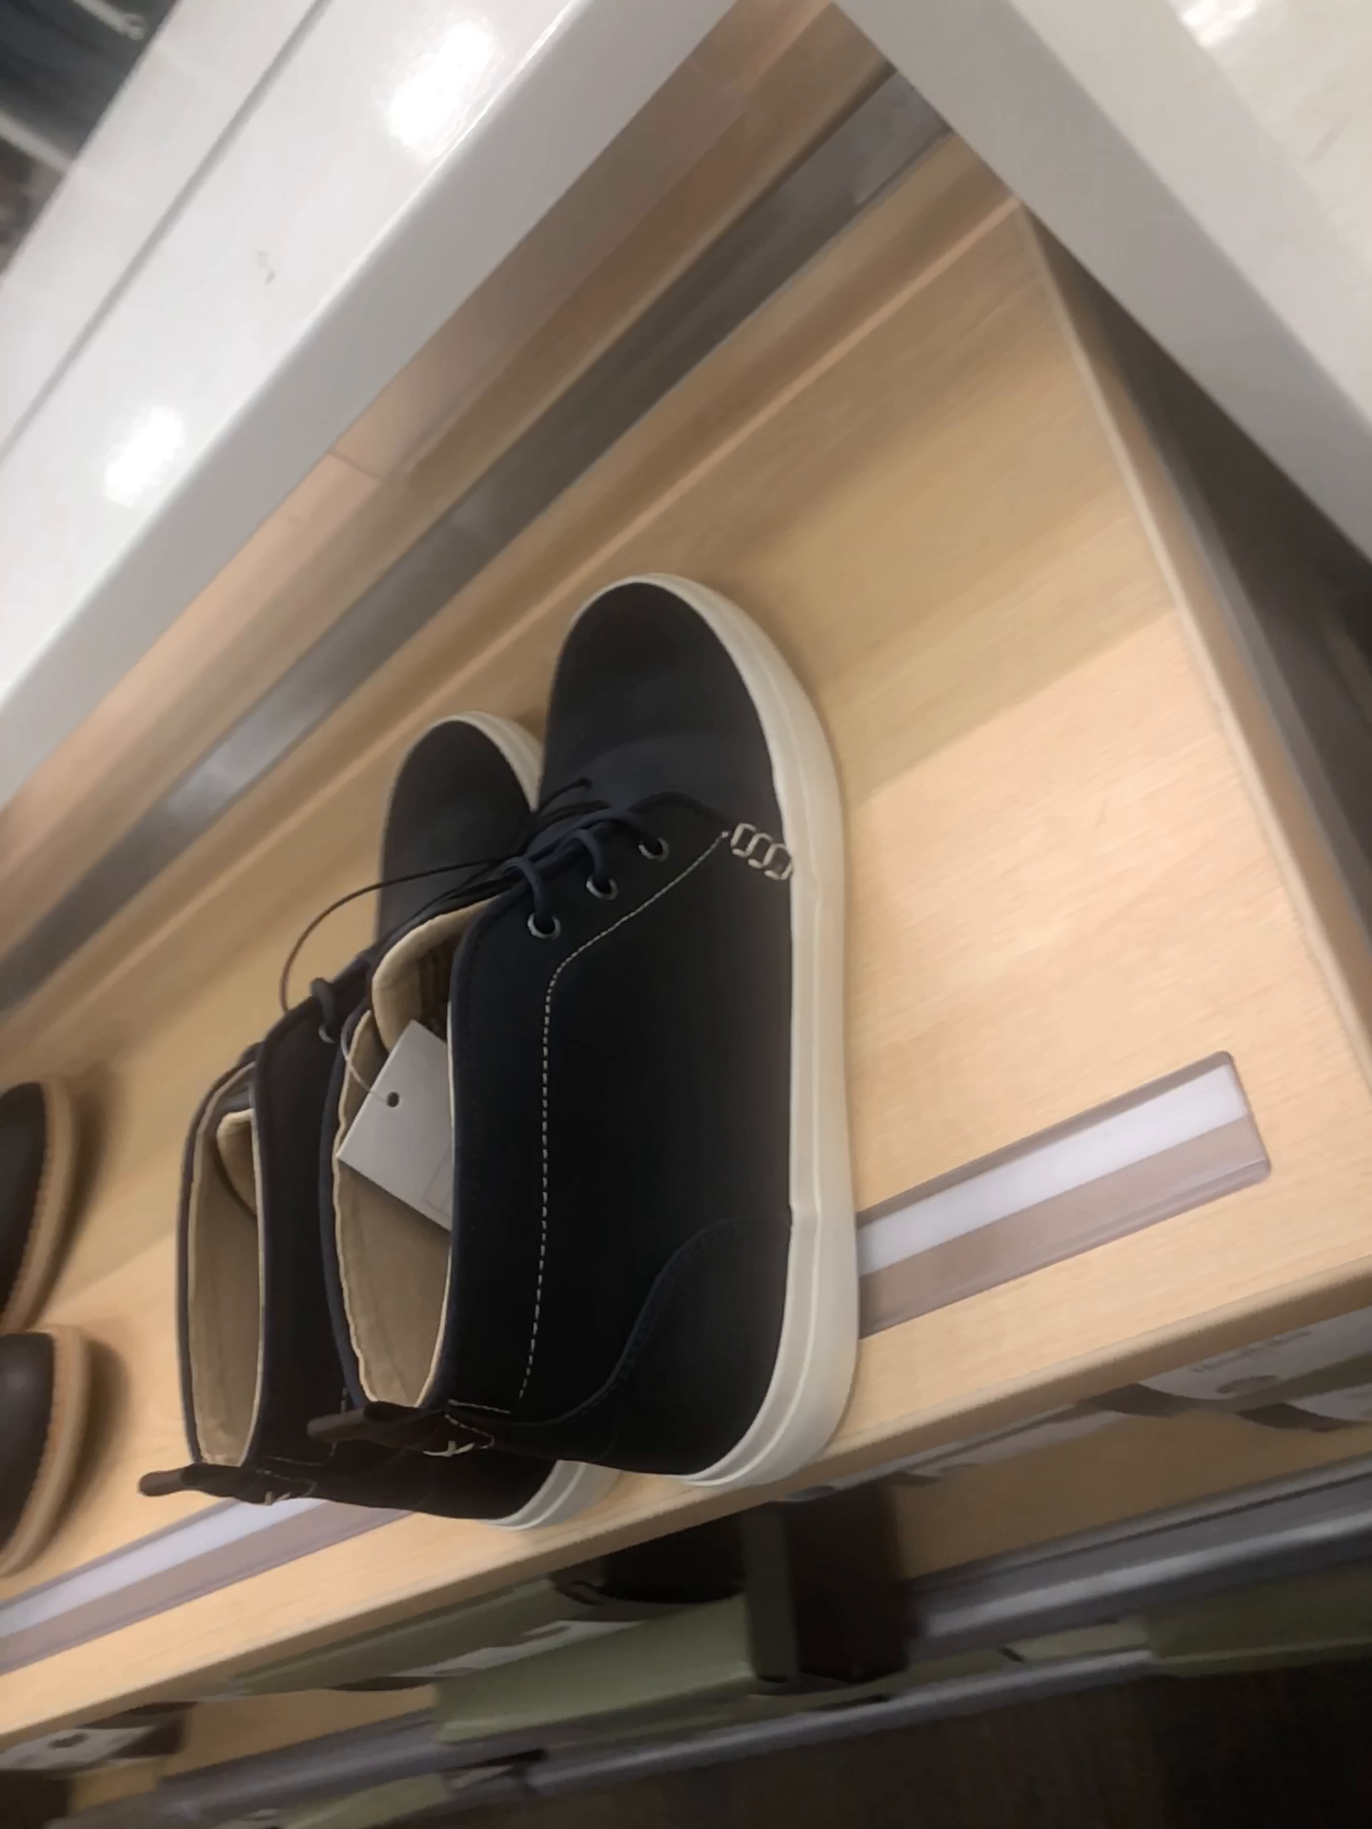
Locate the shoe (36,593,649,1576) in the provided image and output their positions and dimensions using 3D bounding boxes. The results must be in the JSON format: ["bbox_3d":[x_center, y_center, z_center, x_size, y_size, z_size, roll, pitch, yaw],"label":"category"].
[{"bbox_3d":[-0.109,0.051,0.464,0.109,0.114,0.258,-35,50,33],"label":"shoe"}]

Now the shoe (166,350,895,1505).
[{"bbox_3d":[-0.048,0.006,0.409,0.106,0.124,0.268,-31,53,36],"label":"shoe"}]
